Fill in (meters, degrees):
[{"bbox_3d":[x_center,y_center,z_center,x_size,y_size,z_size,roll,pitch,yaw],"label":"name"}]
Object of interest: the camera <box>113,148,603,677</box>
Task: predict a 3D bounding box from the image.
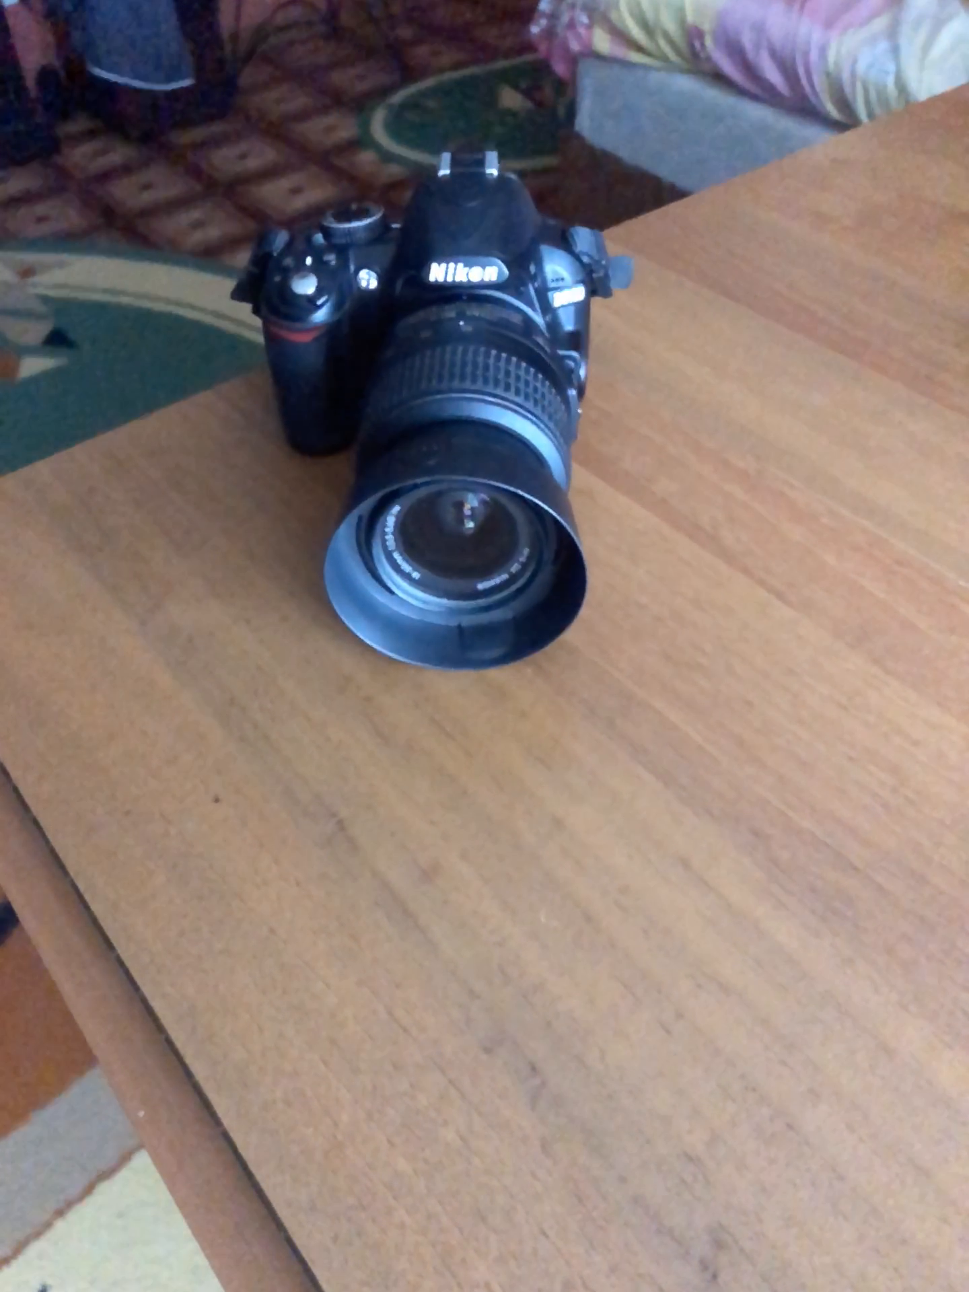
[{"bbox_3d":[-0.027,-0.090,0.379,0.129,0.092,0.184,2,46,3],"label":"camera"}]
